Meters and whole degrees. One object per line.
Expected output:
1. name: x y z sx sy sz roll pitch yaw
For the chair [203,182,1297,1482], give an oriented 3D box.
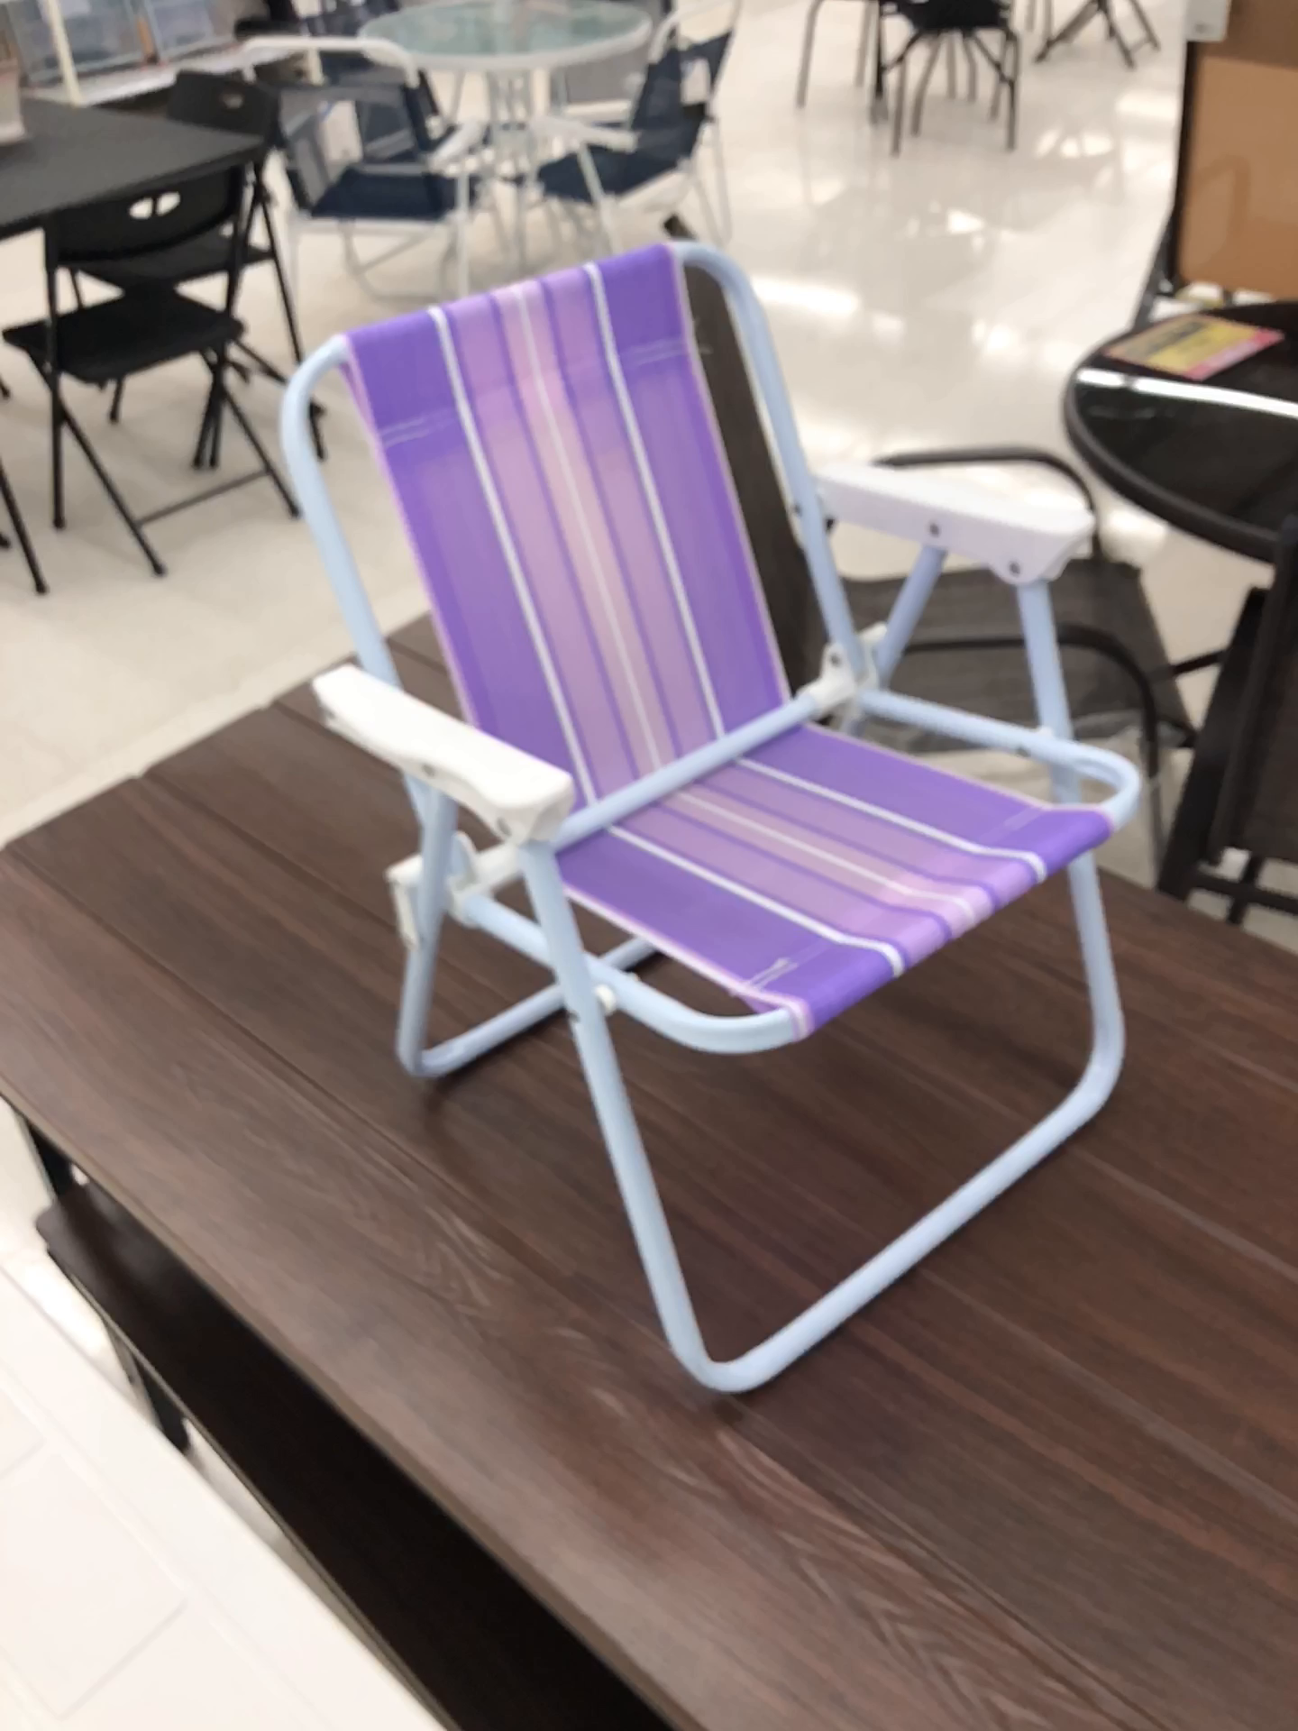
1. chair: 0.090 -0.055 0.778 0.421 0.437 0.392 -29 46 -28
